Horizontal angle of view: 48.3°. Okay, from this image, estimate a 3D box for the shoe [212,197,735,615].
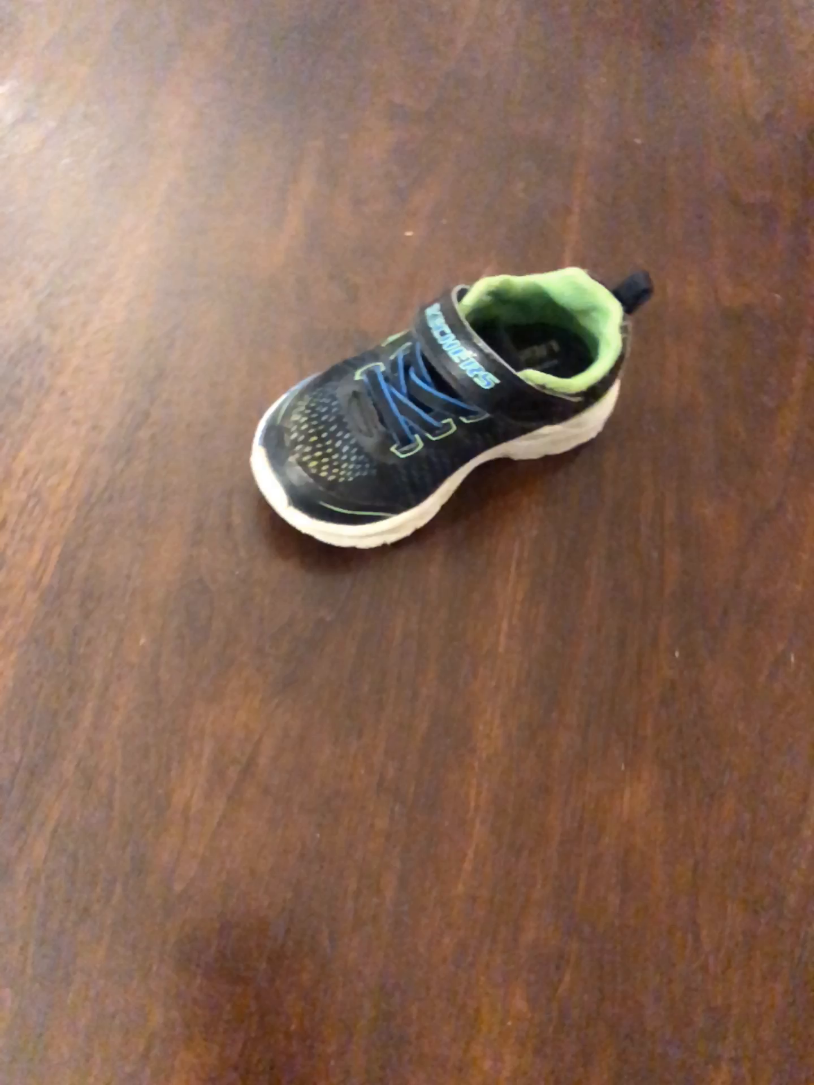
[{"bbox_3d":[0.022,-0.054,0.356,0.170,0.080,0.080,-24,72,-17],"label":"shoe"}]
